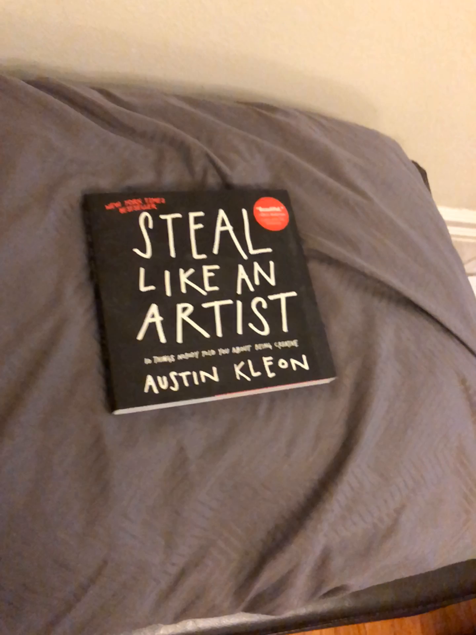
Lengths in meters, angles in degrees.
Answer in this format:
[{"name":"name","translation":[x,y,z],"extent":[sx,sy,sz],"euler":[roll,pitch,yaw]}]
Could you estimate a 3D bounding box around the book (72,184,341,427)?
[{"name":"book","translation":[-0.023,-0.019,0.367],"extent":[0.160,0.020,0.160],"euler":[-6,71,-21]}]
